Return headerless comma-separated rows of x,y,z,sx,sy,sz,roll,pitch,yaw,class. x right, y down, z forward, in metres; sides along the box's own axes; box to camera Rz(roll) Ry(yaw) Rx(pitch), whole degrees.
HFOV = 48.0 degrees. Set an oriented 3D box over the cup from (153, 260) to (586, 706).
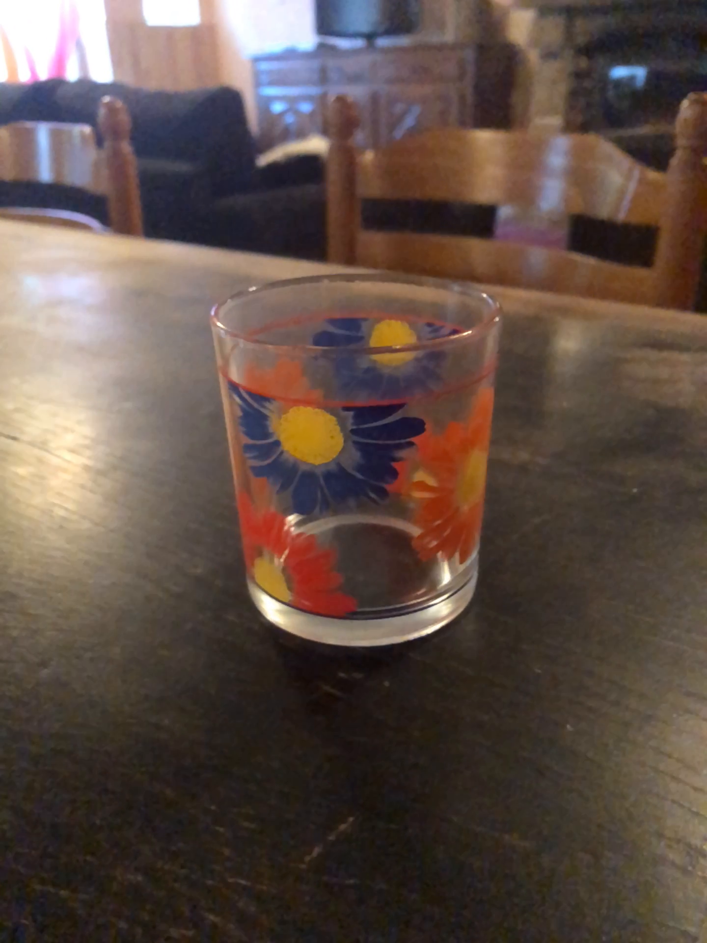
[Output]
0.007,-0.006,0.213,0.075,0.079,0.079,-1,26,0,cup
